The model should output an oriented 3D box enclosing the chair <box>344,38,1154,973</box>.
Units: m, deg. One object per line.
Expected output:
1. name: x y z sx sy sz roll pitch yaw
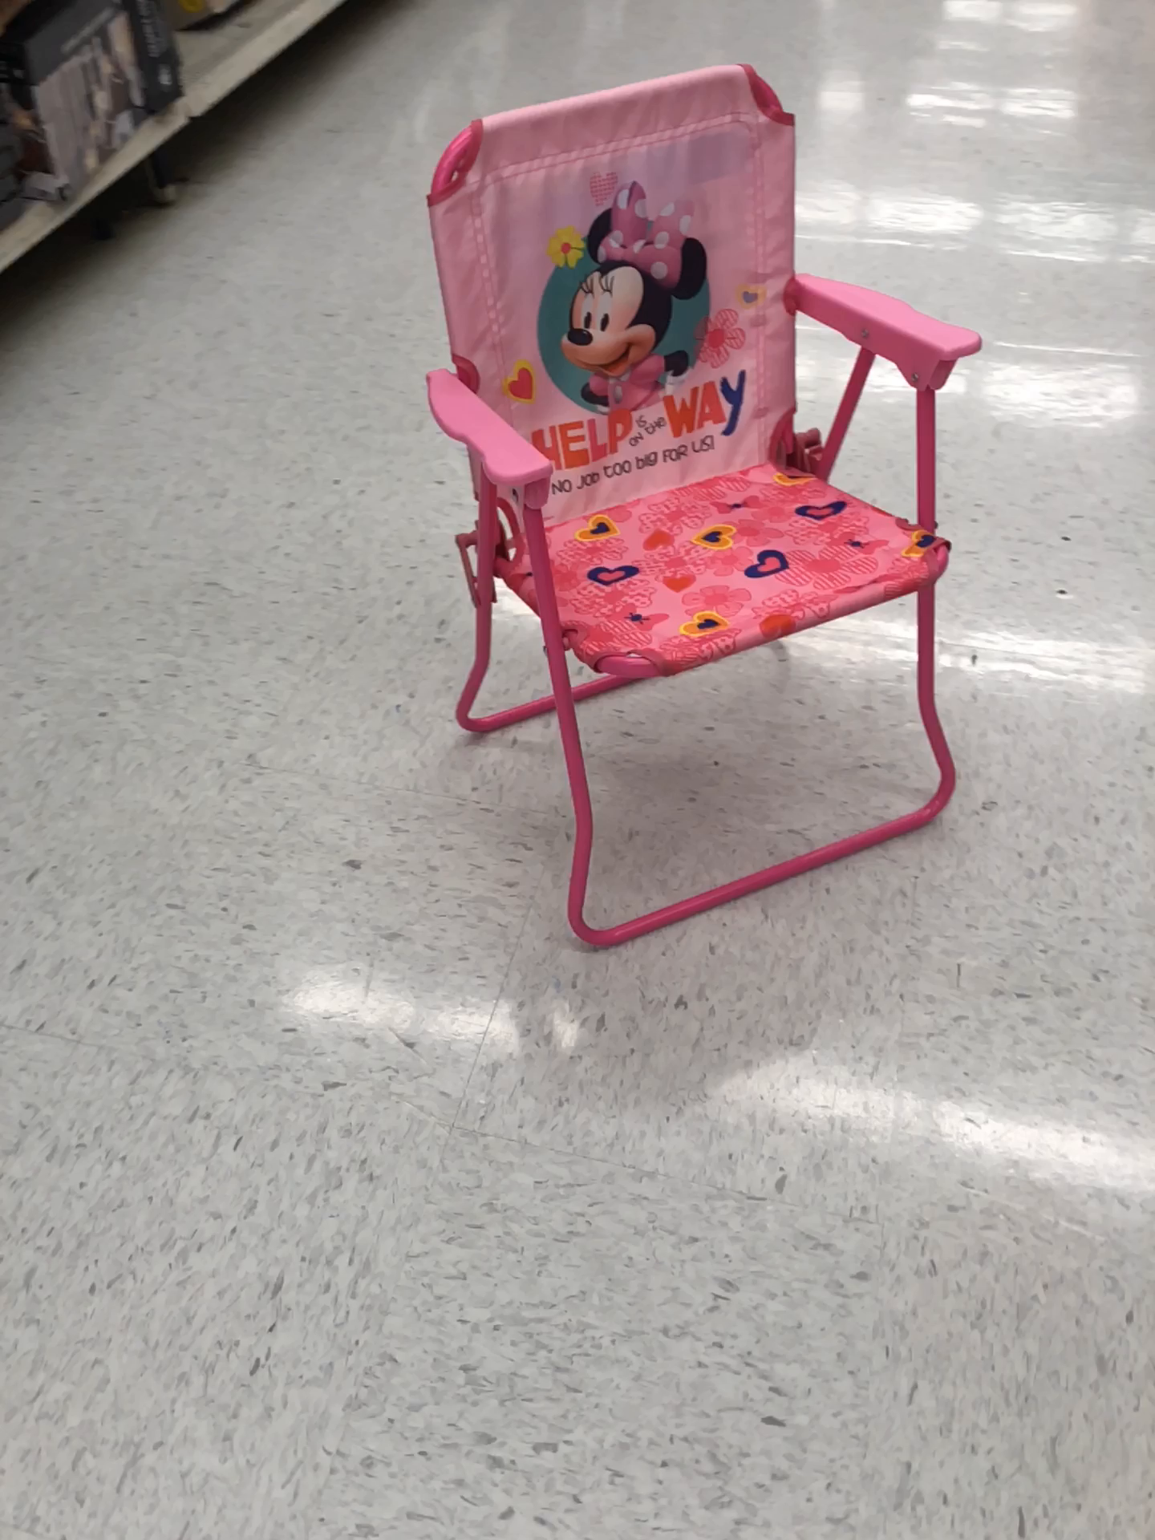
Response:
1. chair: 0.094 -0.187 0.927 0.360 0.488 0.341 -19 48 -15
